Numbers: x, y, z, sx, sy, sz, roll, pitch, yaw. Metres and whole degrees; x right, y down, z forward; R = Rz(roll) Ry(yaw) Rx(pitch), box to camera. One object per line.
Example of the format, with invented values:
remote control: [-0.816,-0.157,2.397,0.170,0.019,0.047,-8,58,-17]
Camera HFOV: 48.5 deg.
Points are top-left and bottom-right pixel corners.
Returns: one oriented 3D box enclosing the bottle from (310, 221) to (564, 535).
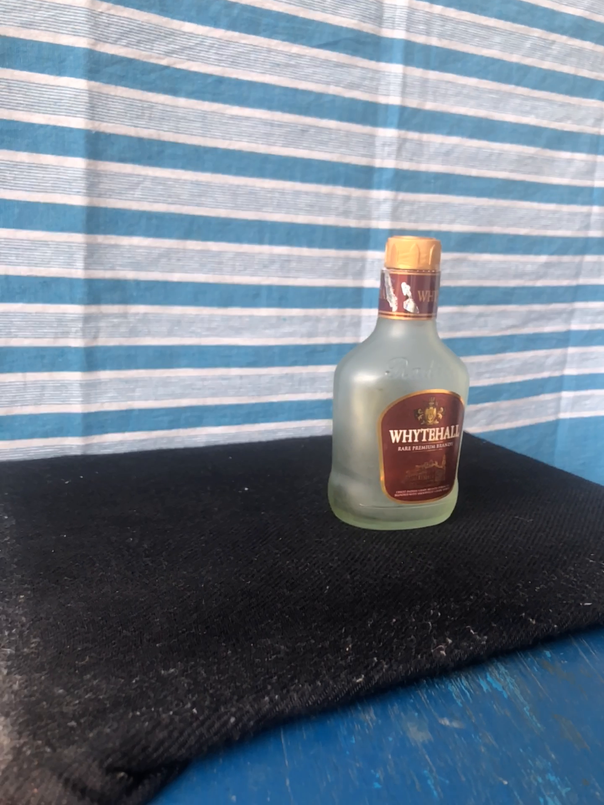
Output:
bottle: [0.059,-0.014,0.316,0.080,0.130,0.060,-1,15,-25]
